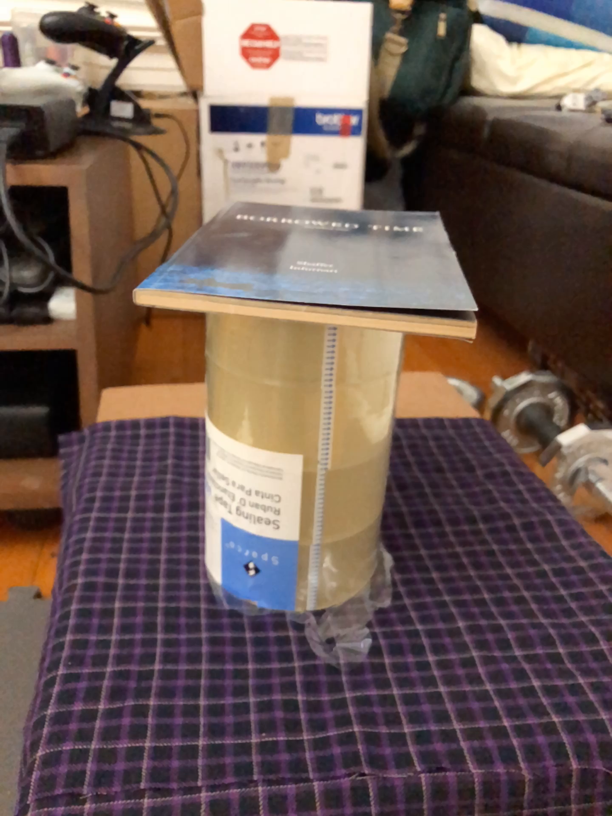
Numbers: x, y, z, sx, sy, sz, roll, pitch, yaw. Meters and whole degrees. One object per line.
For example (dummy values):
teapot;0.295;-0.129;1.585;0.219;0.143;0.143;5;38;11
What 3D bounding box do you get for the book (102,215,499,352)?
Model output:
book;0.006;-0.080;0.381;0.160;0.010;0.231;5;24;3
